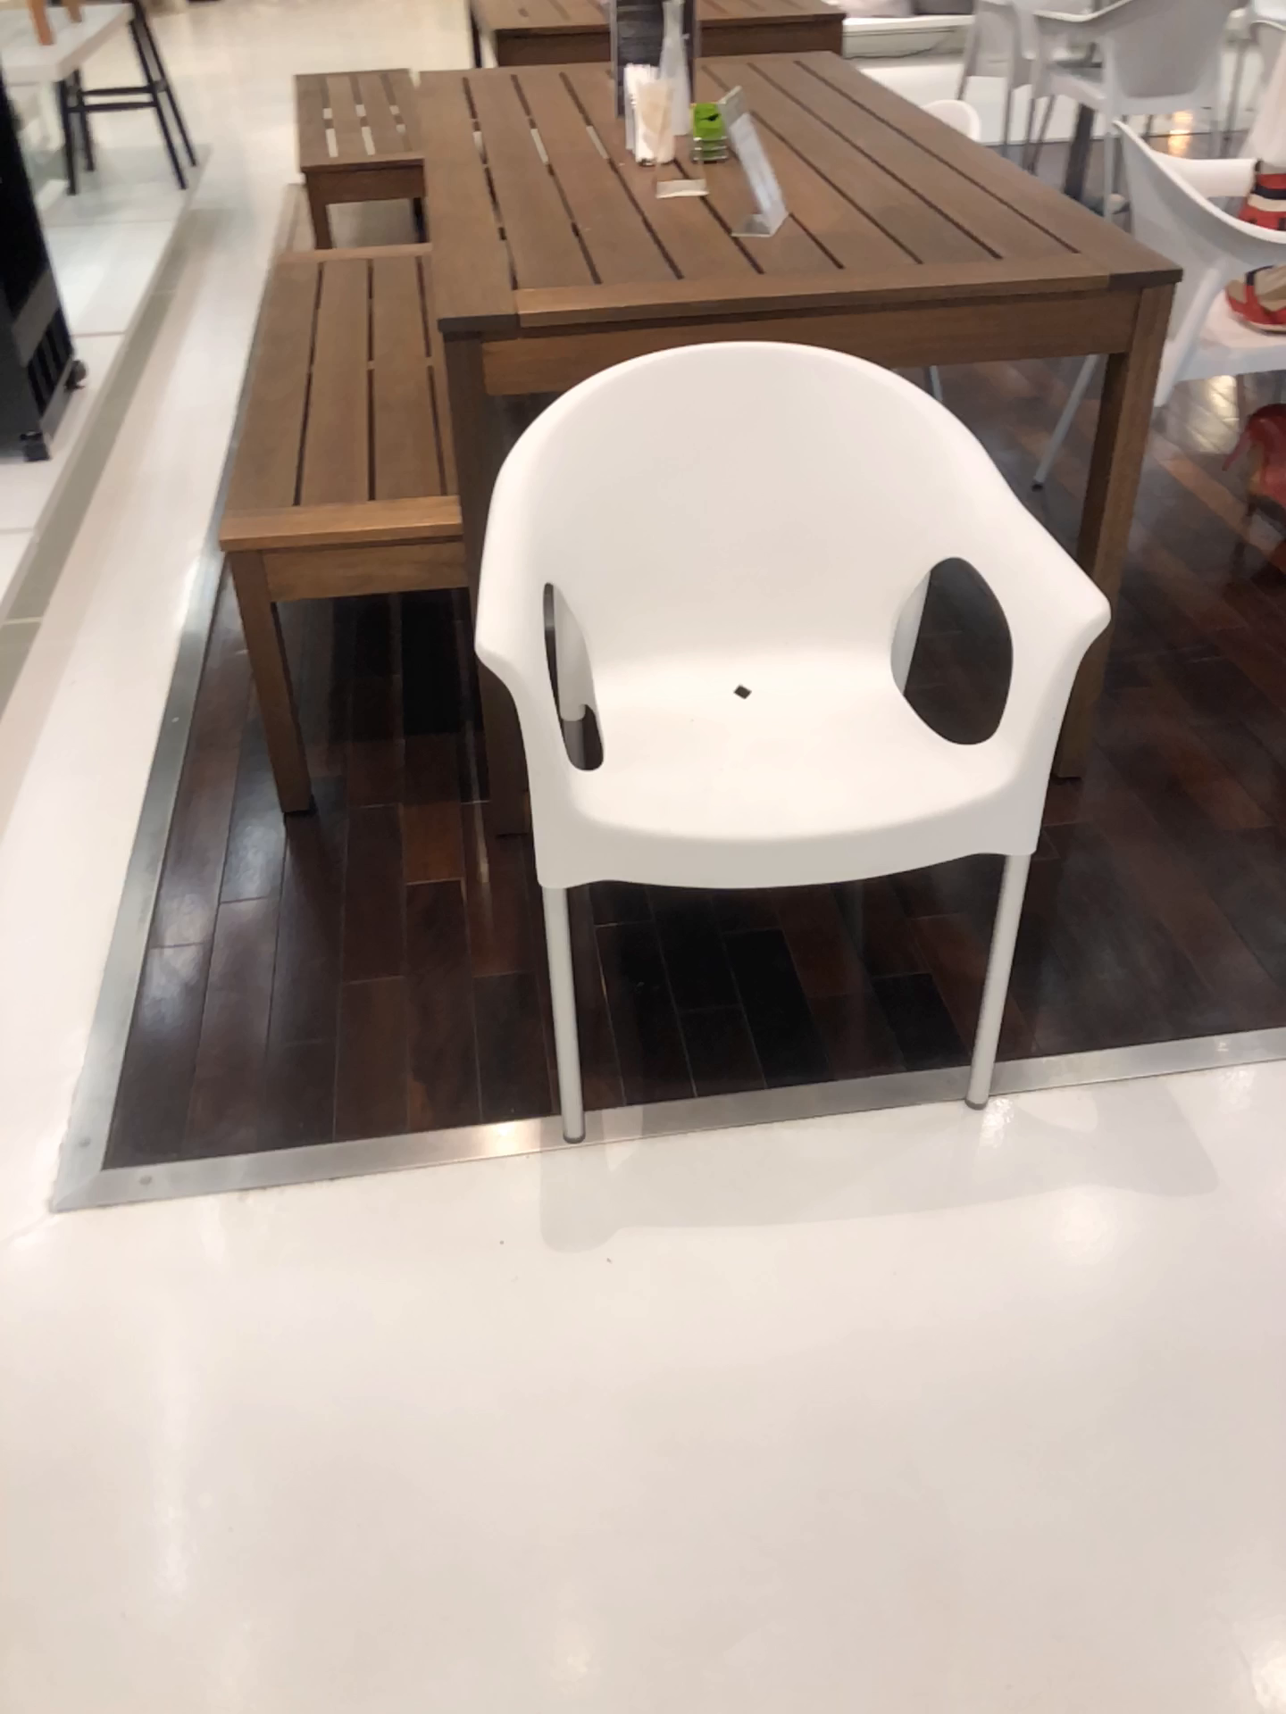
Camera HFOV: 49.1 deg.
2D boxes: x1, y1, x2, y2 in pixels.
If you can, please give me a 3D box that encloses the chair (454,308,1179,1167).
[{"bbox_3d":[0.124,-0.143,1.555,0.580,0.705,0.564,-5,37,-5],"label":"chair"}]
